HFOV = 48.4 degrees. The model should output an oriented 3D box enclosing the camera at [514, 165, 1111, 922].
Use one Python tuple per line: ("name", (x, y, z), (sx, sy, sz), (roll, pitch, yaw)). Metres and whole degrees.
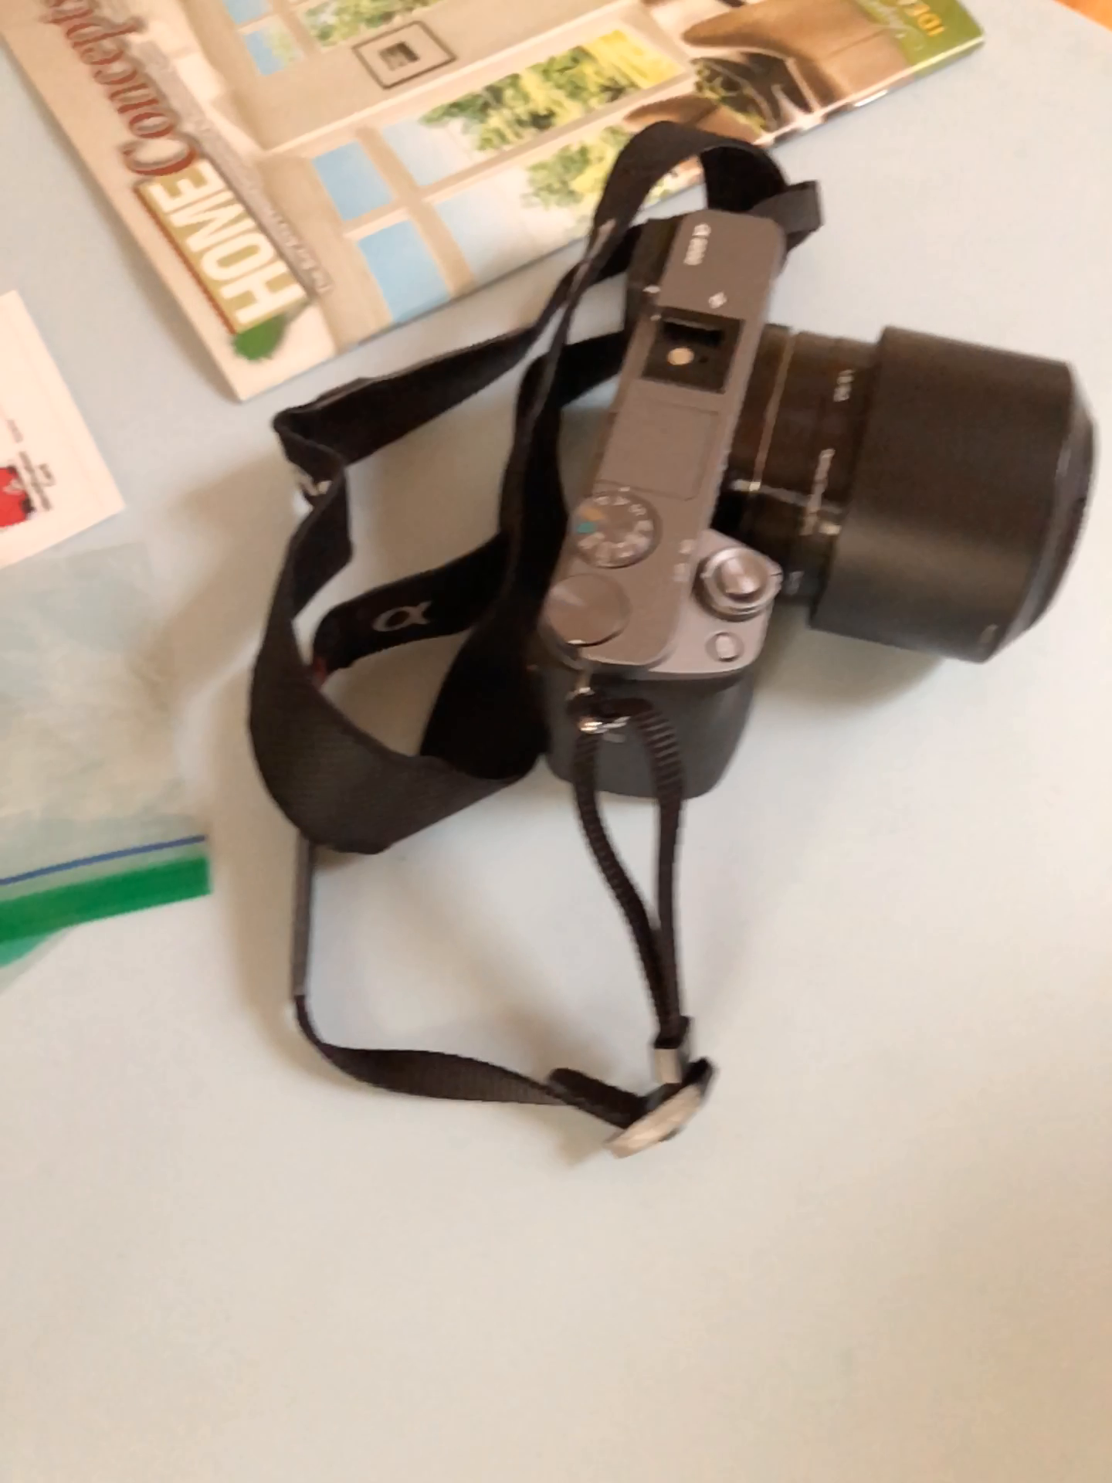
("camera", (0.064, -0.045, 0.278), (0.110, 0.070, 0.130), (15, 65, 7))
